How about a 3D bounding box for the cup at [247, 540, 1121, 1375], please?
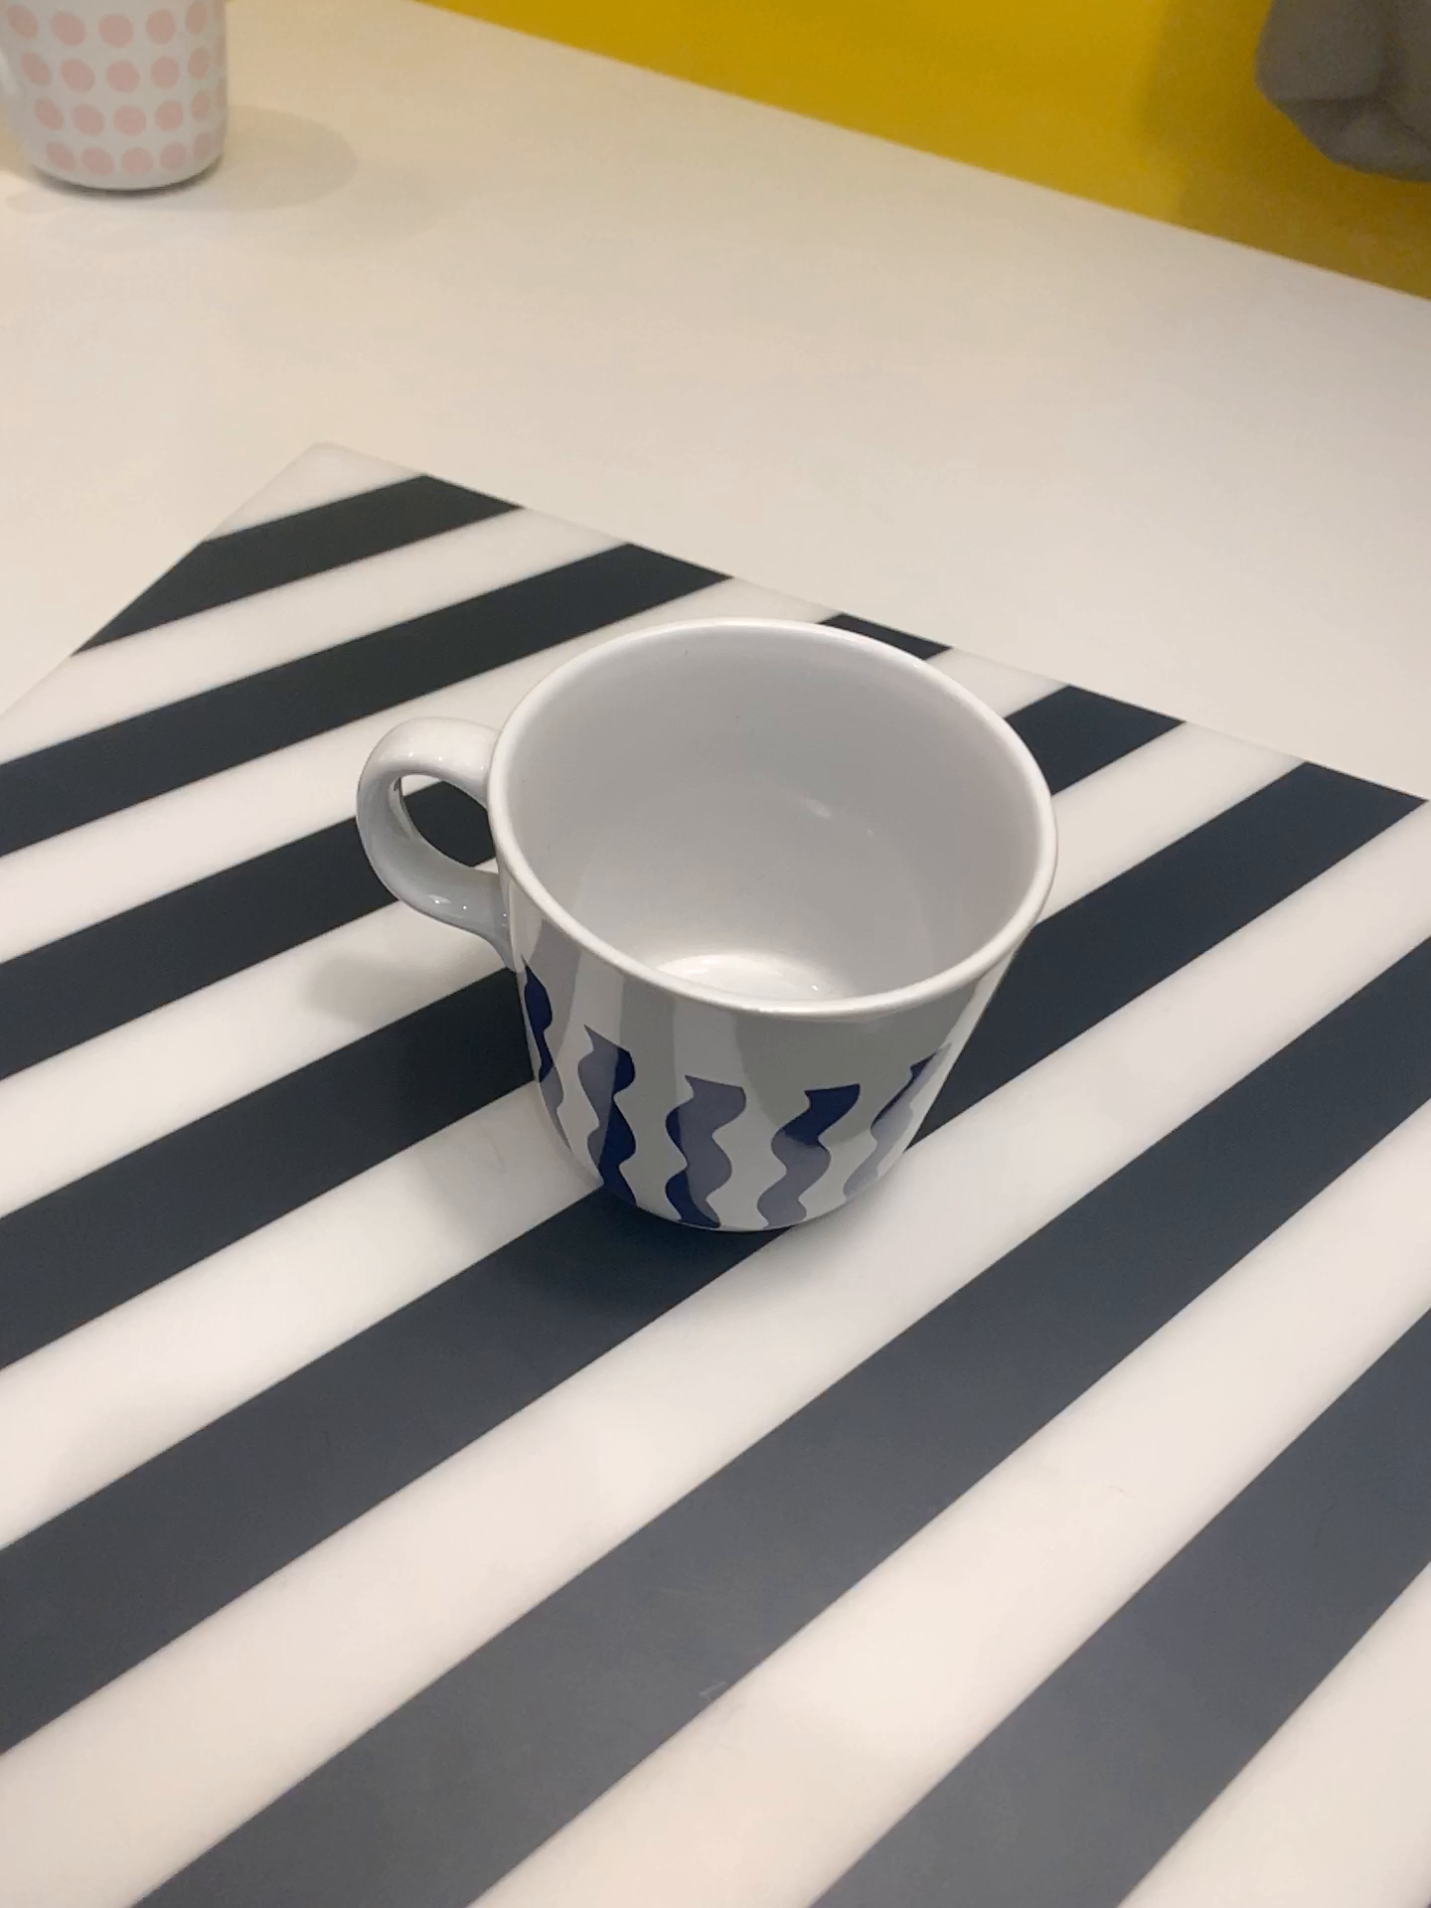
[{"bbox_3d":[-0.002,-0.002,0.251,0.110,0.070,0.090,18,49,7],"label":"cup"}]
